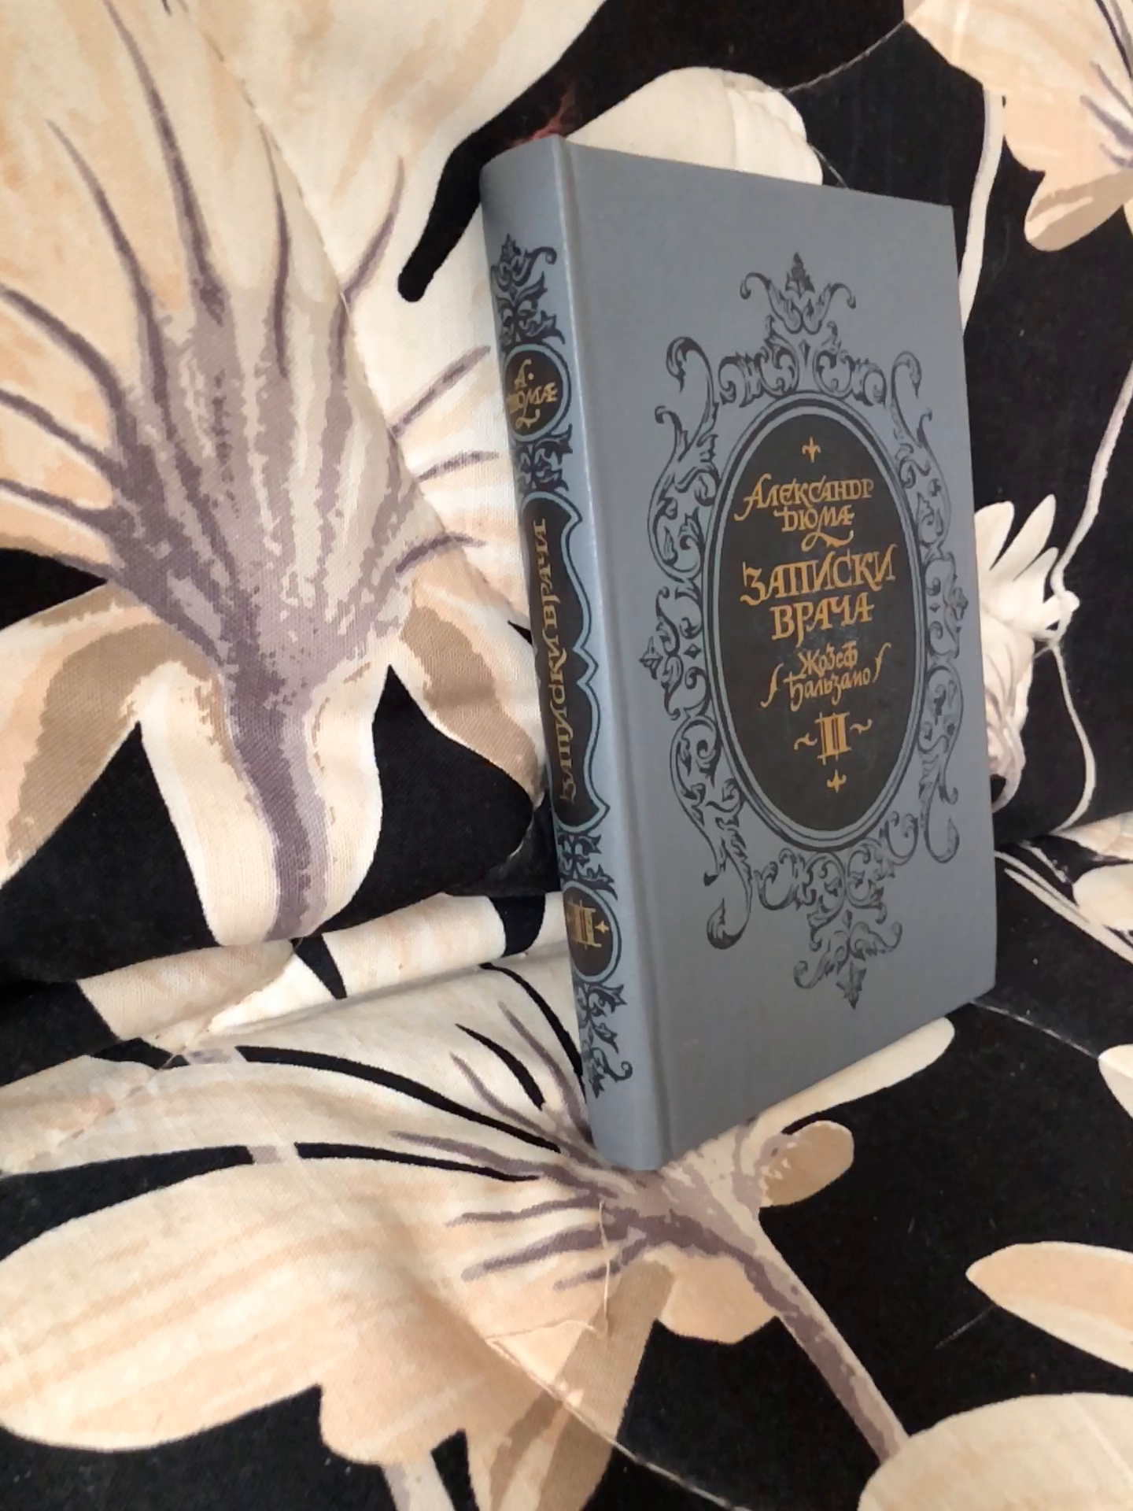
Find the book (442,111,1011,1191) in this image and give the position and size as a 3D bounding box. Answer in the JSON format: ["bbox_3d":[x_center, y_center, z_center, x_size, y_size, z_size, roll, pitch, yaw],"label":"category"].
[{"bbox_3d":[0.049,-0.027,0.301,0.141,0.030,0.210,-13,99,-40],"label":"book"}]
